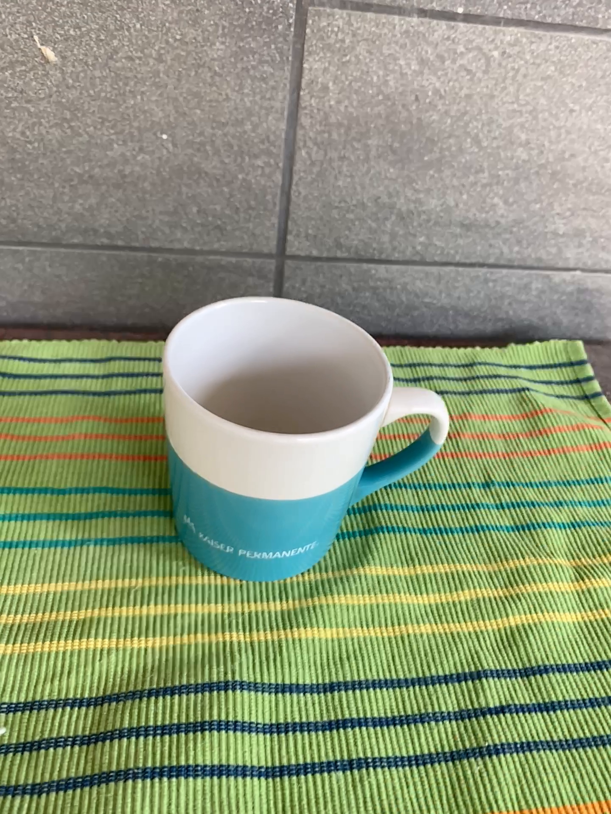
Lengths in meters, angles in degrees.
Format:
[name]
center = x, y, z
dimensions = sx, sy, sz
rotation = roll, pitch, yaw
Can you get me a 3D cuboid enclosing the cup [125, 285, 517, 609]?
[cup]
center = -0.003, 0.015, 0.293
dimensions = 0.140, 0.100, 0.100
rotation = -1, 40, -11
